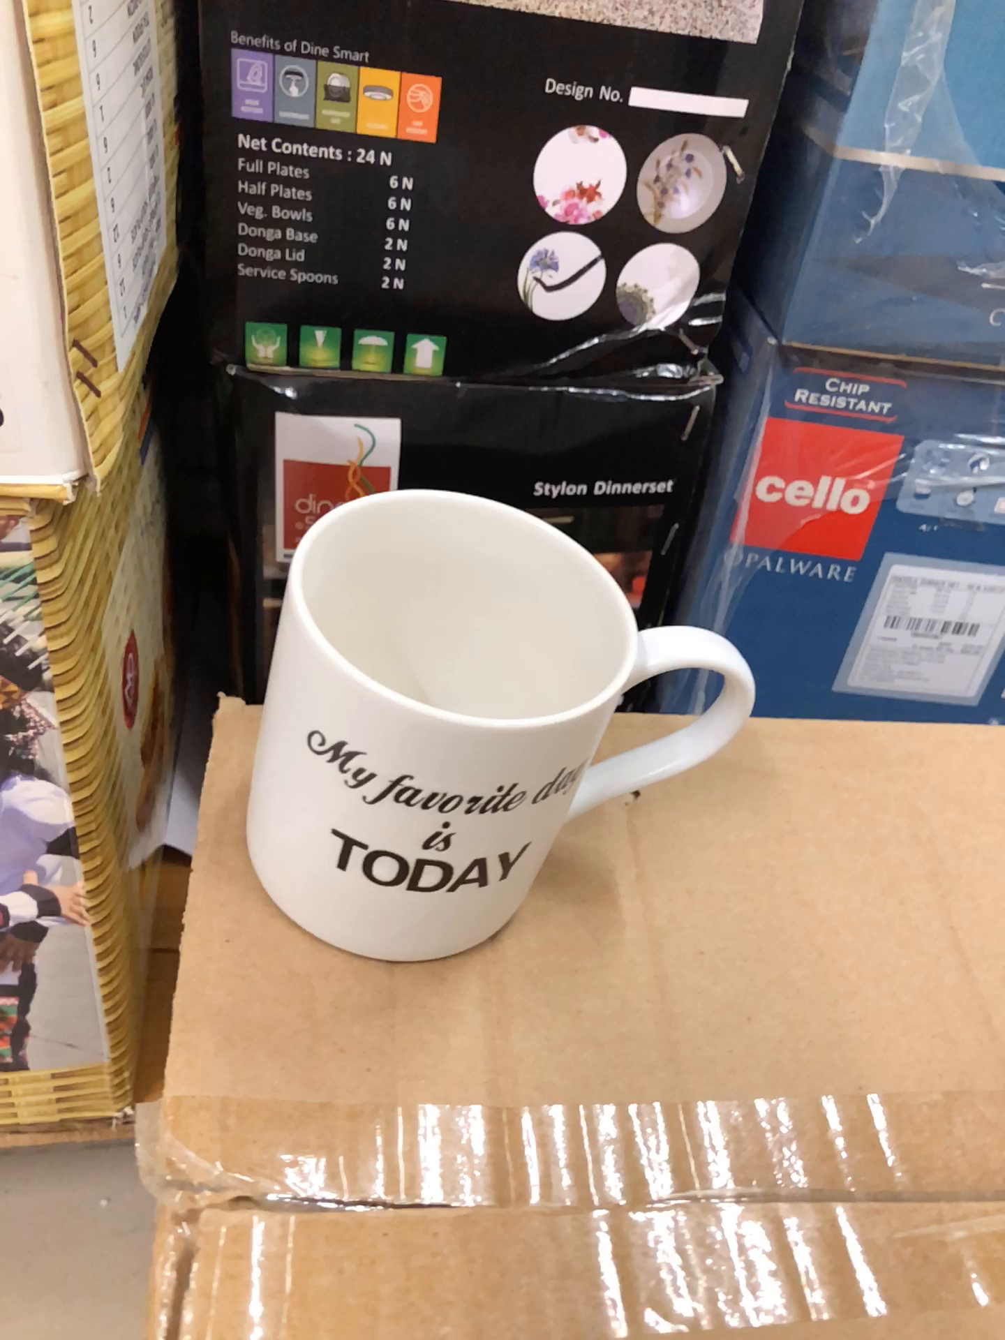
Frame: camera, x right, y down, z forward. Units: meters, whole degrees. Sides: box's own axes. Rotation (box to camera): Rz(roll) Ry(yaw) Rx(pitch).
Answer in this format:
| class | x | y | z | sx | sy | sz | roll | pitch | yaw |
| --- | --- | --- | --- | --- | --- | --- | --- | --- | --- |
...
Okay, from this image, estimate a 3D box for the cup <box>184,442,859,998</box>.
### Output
| class | x | y | z | sx | sy | sz | roll | pitch | yaw |
| --- | --- | --- | --- | --- | --- | --- | --- | --- | --- |
| cup | -0.006 | 0.013 | 0.279 | 0.130 | 0.099 | 0.080 | 0 | 45 | -22 |
